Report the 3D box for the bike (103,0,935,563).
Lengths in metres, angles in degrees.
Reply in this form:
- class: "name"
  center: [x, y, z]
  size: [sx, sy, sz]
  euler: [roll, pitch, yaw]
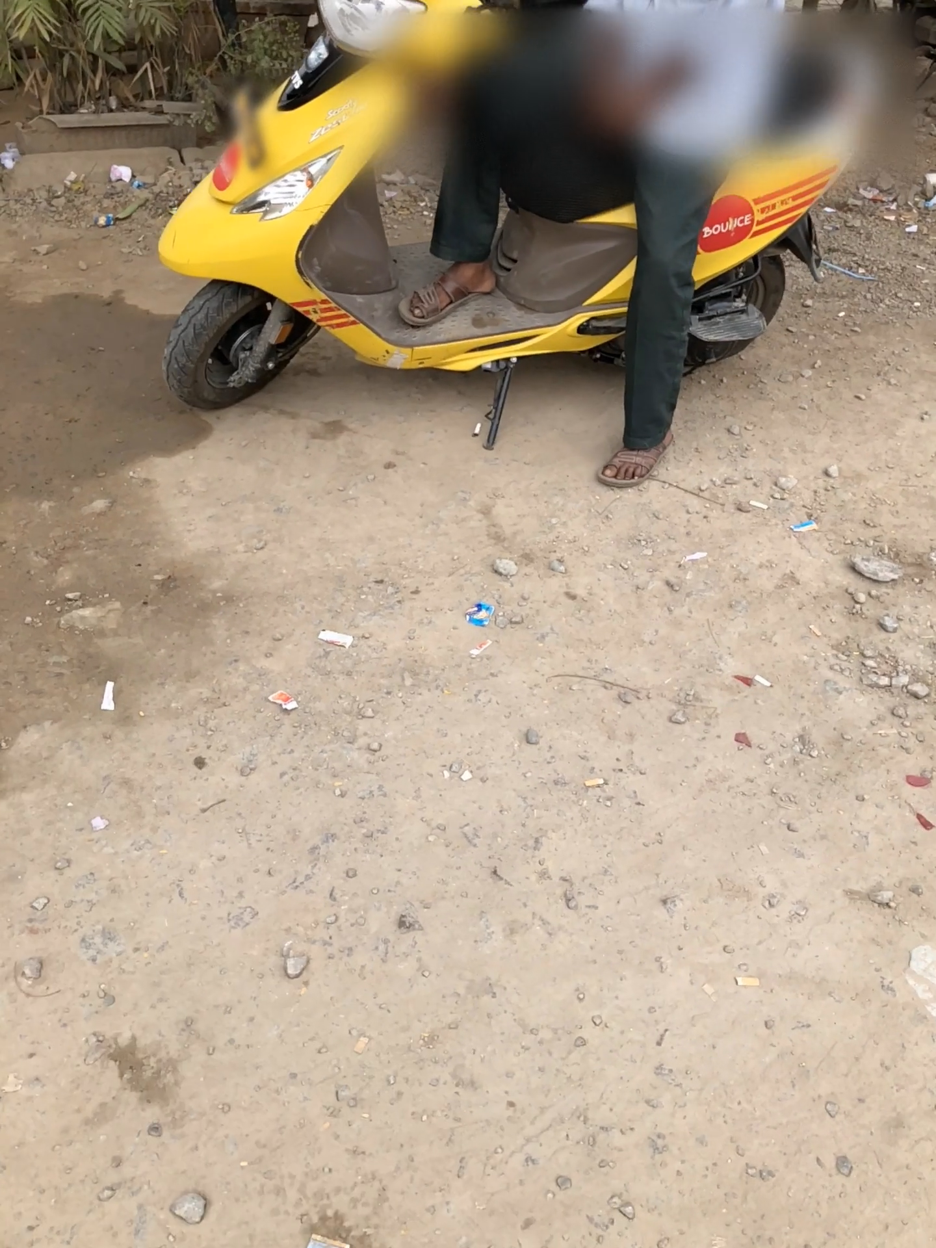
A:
- class: "bike"
  center: [0.086, -1.014, 2.510]
  size: [1.655, 1.160, 0.894]
  euler: [-10, 43, -12]
